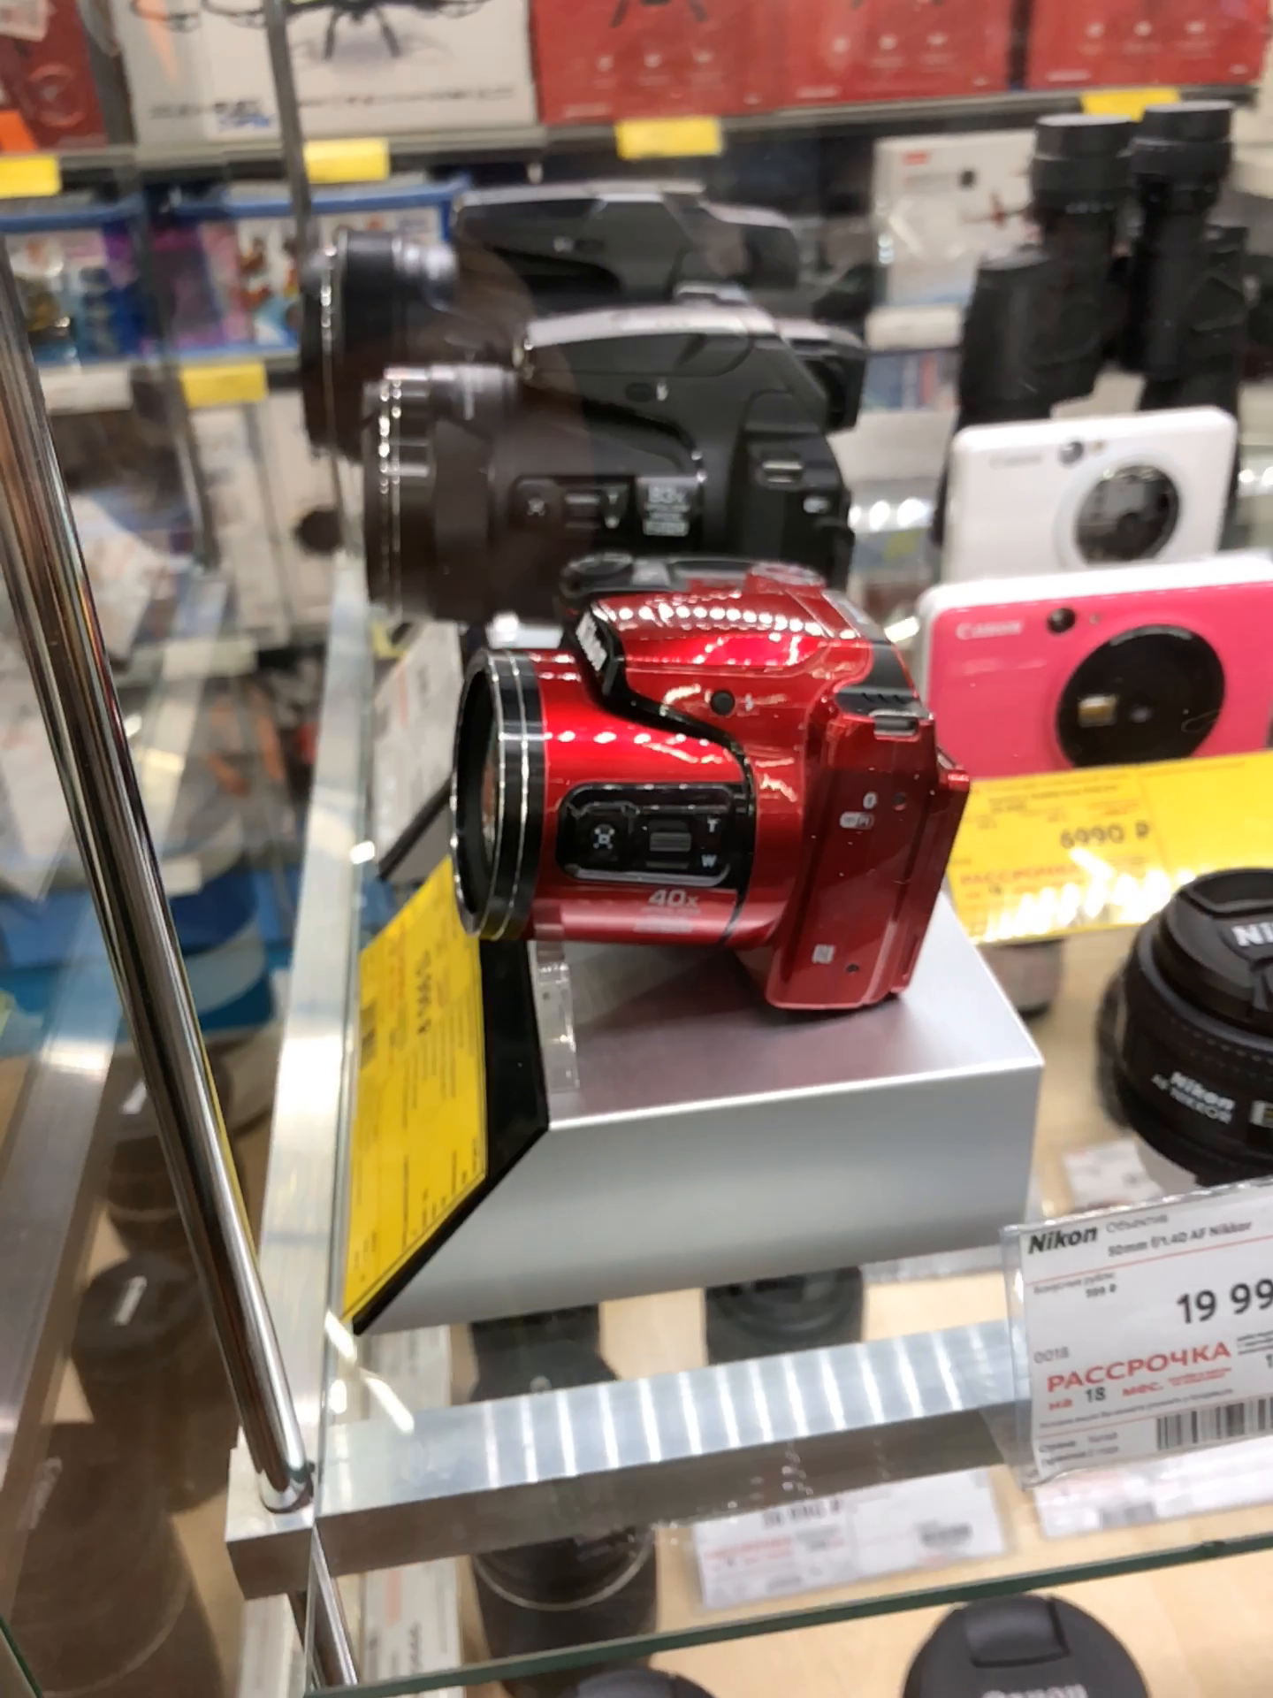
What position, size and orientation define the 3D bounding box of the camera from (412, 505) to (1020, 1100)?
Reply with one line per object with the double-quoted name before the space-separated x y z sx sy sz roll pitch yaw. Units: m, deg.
"camera" 0.009 -0.018 0.326 0.110 0.076 0.121 -6 31 -5
